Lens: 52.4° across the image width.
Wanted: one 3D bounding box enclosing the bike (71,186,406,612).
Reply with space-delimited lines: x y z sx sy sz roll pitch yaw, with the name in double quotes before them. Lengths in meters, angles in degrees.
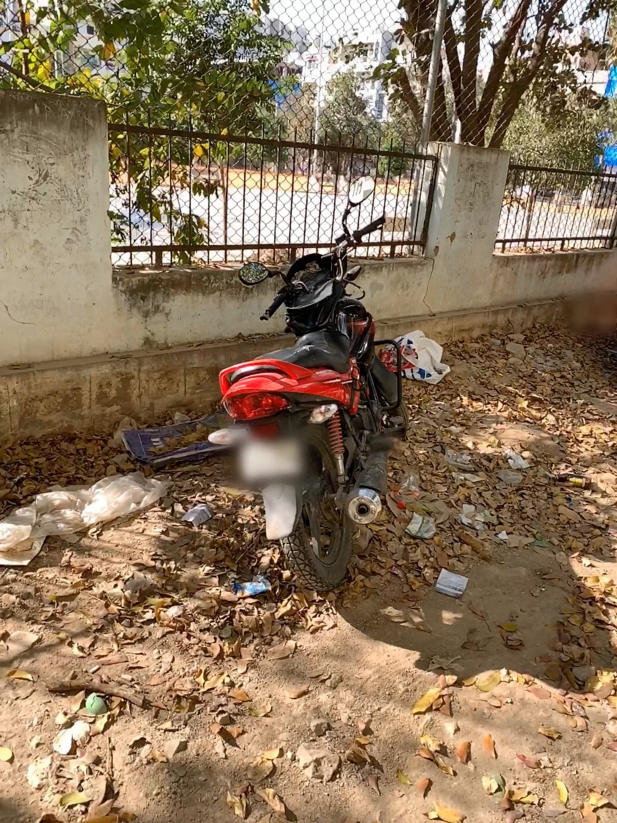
"bike" -0.147 -0.194 2.396 0.822 1.067 1.296 8 24 8
